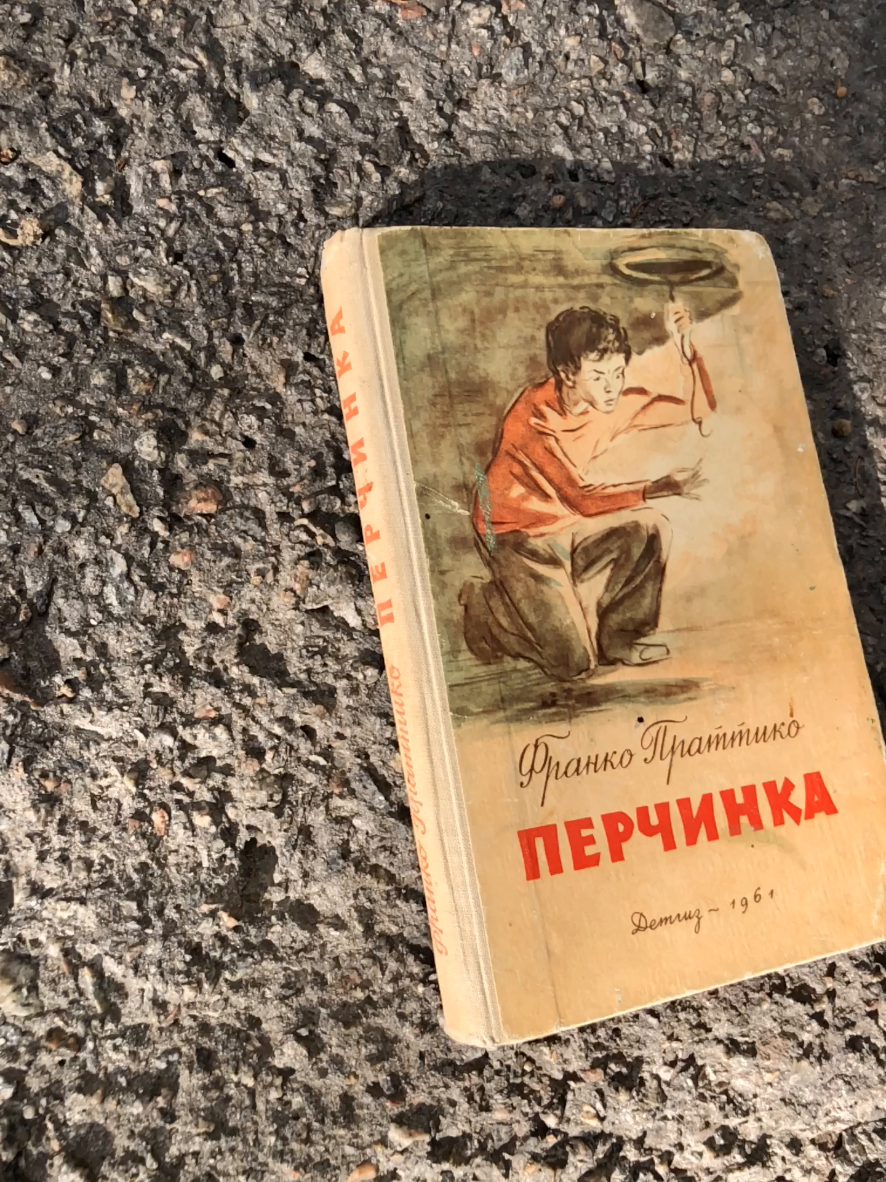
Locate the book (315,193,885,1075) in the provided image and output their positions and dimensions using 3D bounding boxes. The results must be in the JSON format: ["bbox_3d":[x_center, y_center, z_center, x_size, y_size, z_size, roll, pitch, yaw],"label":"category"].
[{"bbox_3d":[0.047,0.000,0.261,0.132,0.030,0.203,-6,81,-21],"label":"book"}]
